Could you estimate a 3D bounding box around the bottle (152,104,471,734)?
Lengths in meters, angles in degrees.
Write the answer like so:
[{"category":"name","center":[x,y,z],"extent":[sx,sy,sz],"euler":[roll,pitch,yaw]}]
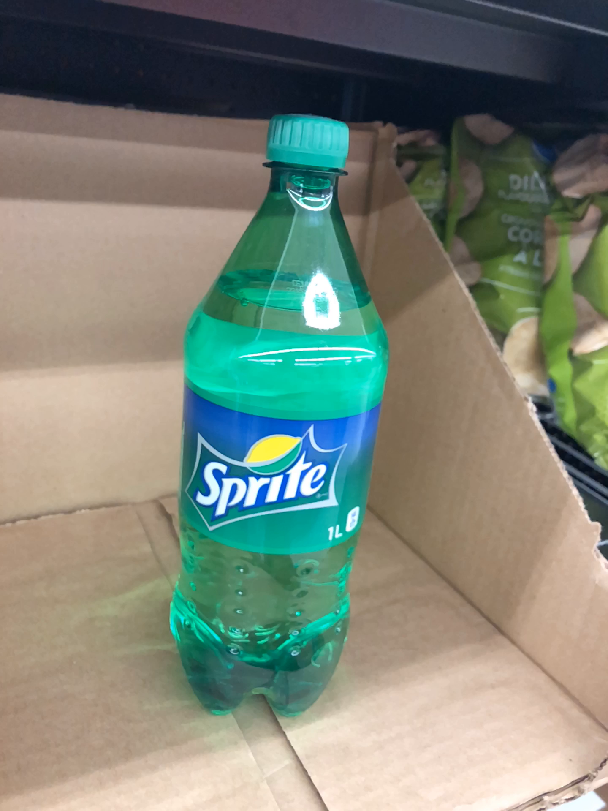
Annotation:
[{"category":"bottle","center":[-0.010,0.011,0.293],"extent":[0.090,0.248,0.091],"euler":[6,22,-2]}]
